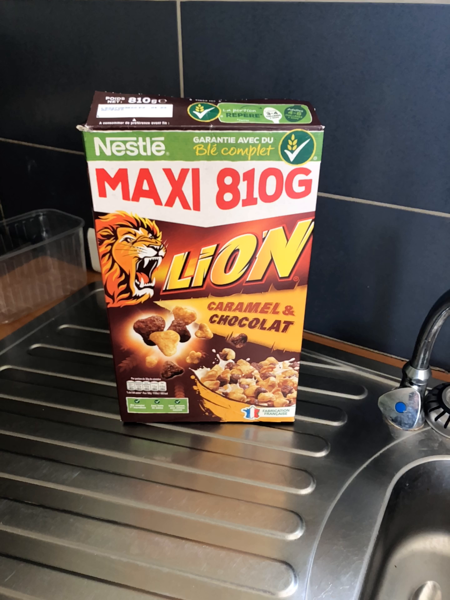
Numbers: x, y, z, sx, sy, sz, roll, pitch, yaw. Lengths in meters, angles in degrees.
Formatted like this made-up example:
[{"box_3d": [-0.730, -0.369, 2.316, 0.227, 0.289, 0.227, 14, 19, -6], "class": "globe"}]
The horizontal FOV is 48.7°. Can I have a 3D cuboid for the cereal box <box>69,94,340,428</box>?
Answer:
[{"box_3d": [-0.016, -0.022, 0.483, 0.200, 0.318, 0.080, 1, 31, 0], "class": "cereal box"}]
